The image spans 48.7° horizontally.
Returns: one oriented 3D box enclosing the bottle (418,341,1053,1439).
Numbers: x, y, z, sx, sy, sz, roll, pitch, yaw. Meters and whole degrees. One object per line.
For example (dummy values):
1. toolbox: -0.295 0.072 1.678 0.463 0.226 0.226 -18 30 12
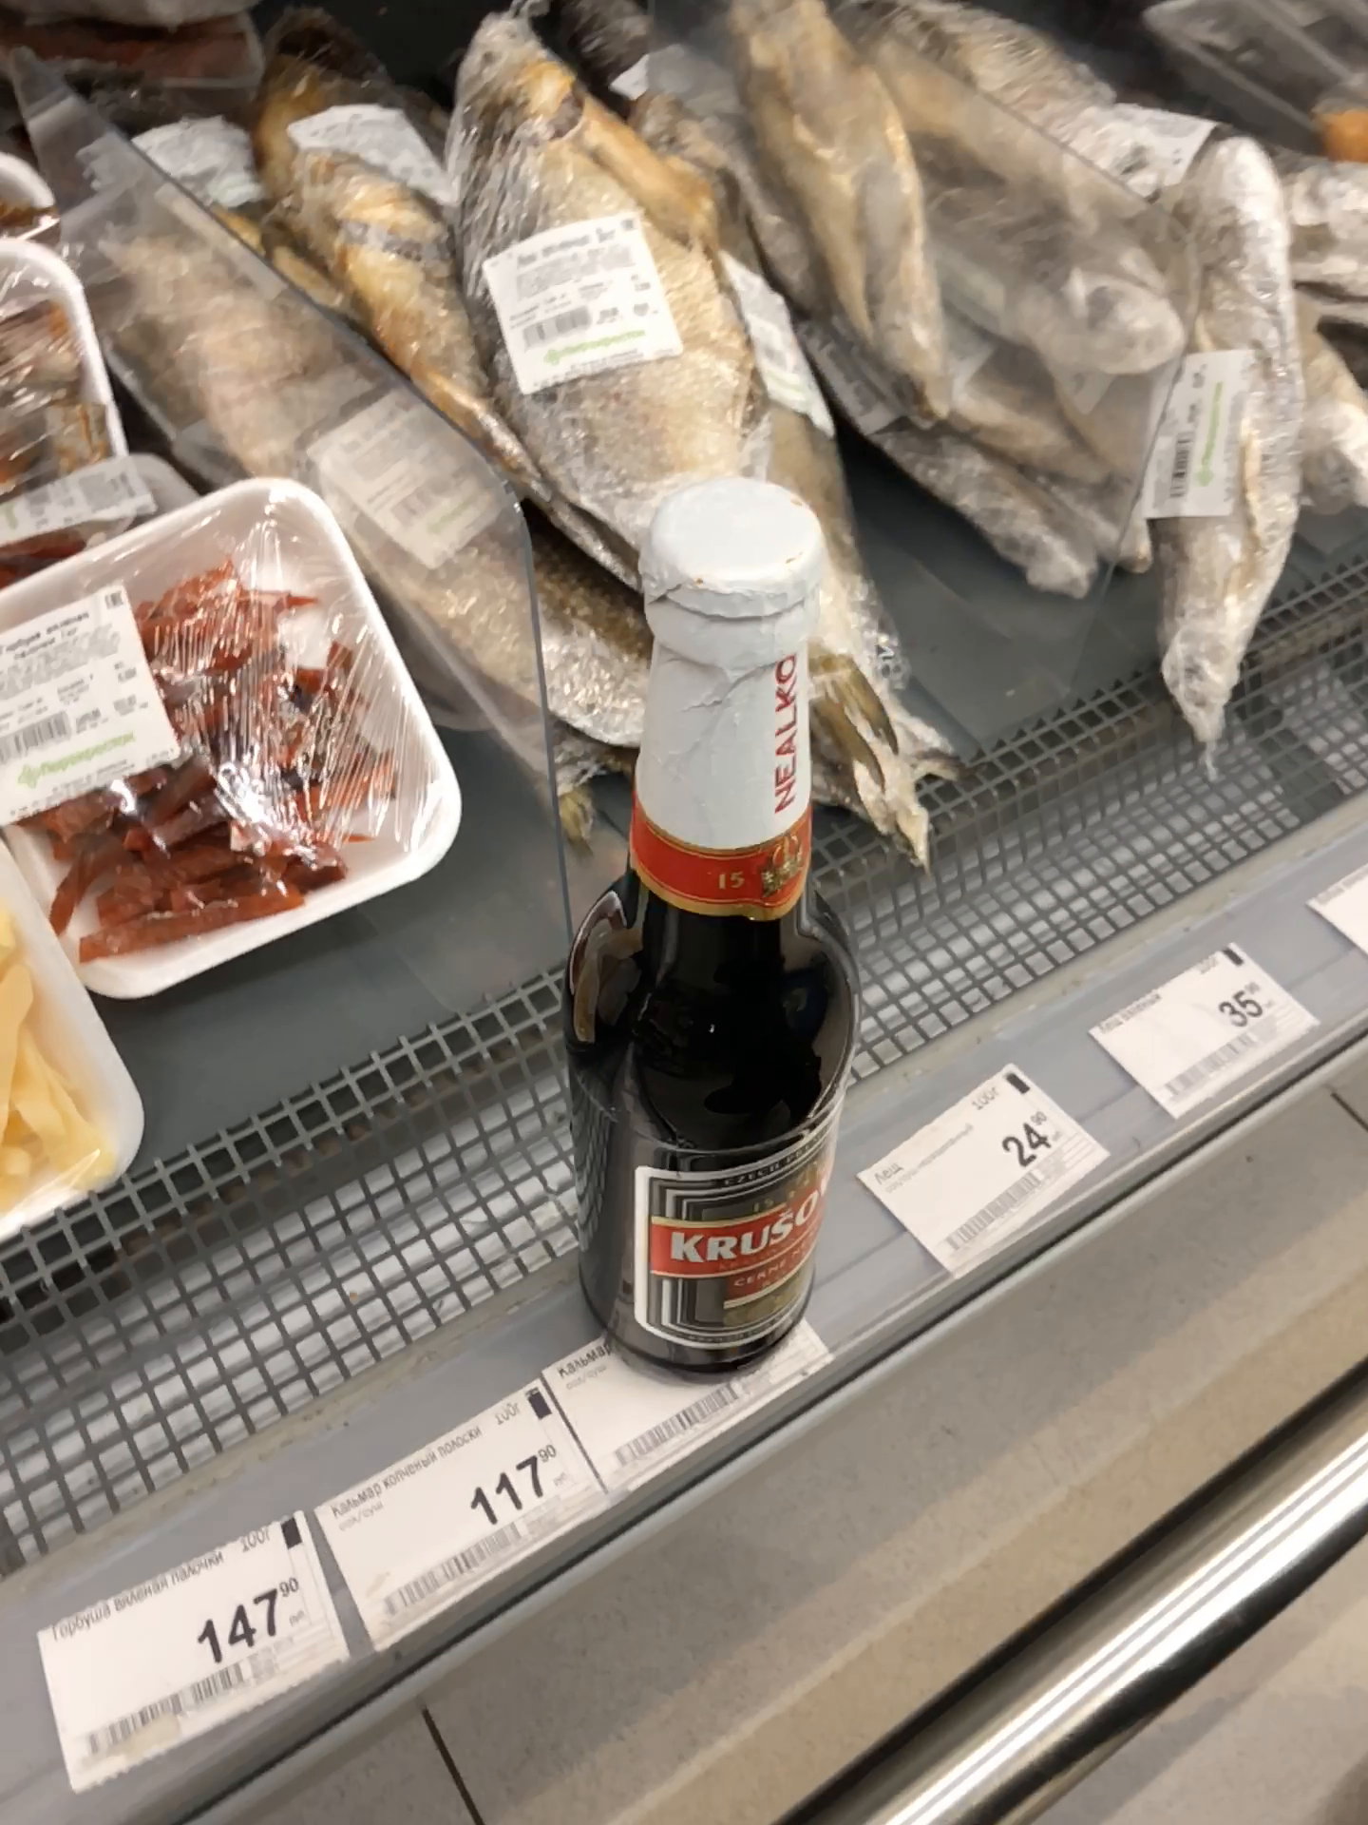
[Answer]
1. bottle: 0.004 0.022 0.339 0.070 0.269 0.070 1 52 -1
